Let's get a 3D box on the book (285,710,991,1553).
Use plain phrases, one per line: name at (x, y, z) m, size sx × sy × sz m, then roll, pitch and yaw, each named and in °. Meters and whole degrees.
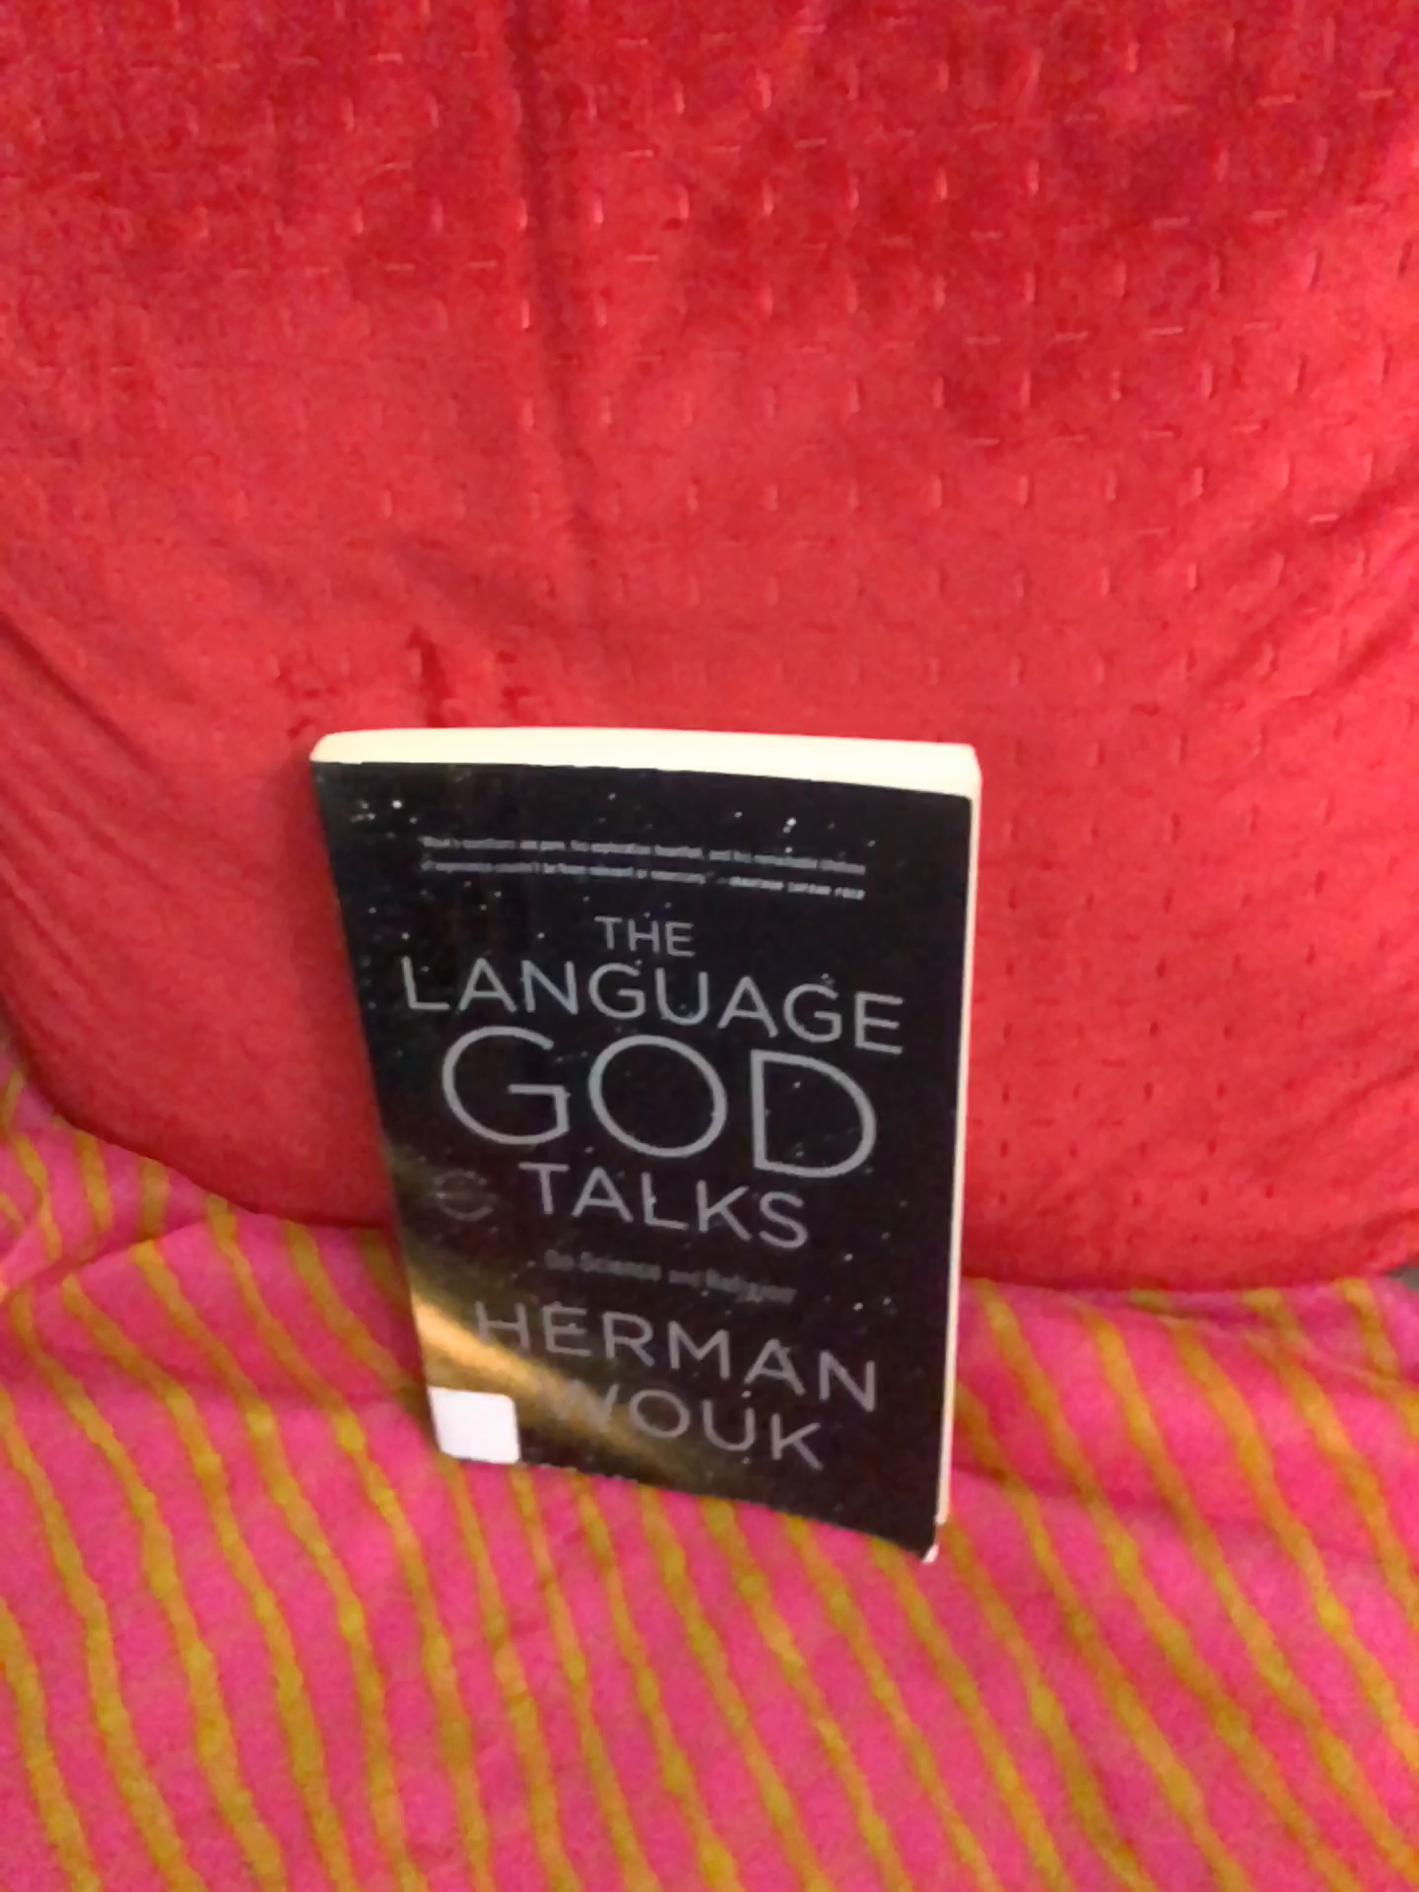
book at (-0.011, 0.048, 0.365) m, size 0.138 × 0.199 × 0.030 m, roll 5°, pitch 31°, yaw 14°
